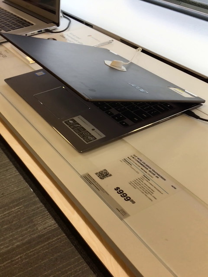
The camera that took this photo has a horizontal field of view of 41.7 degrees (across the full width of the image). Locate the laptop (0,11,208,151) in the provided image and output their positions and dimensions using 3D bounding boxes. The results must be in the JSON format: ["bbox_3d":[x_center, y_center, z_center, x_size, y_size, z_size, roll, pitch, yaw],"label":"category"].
[{"bbox_3d":[-0.028,-0.129,0.523,0.236,0.099,0.287,-29,51,-20],"label":"laptop"}]
